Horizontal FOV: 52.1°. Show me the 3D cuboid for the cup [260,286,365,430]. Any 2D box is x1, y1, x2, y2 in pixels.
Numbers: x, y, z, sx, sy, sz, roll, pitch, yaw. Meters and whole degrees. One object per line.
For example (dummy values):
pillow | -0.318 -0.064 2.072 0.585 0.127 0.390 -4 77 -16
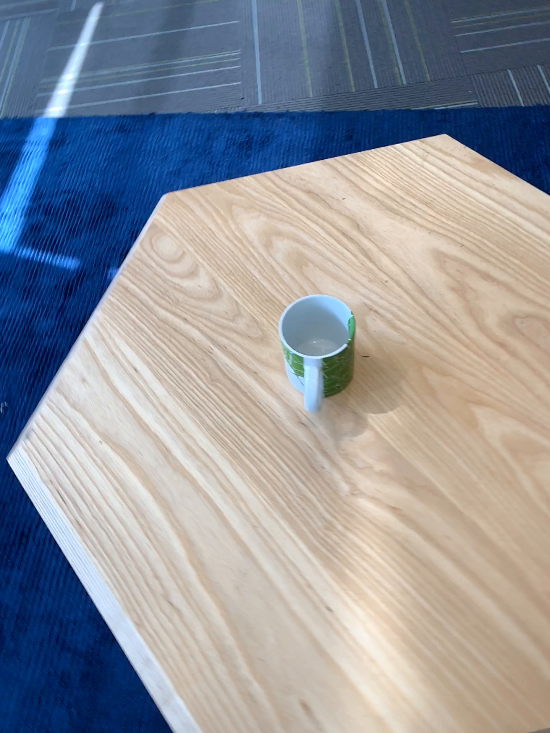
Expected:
cup | 0.044 -0.009 0.607 0.090 0.090 0.120 5 62 10
